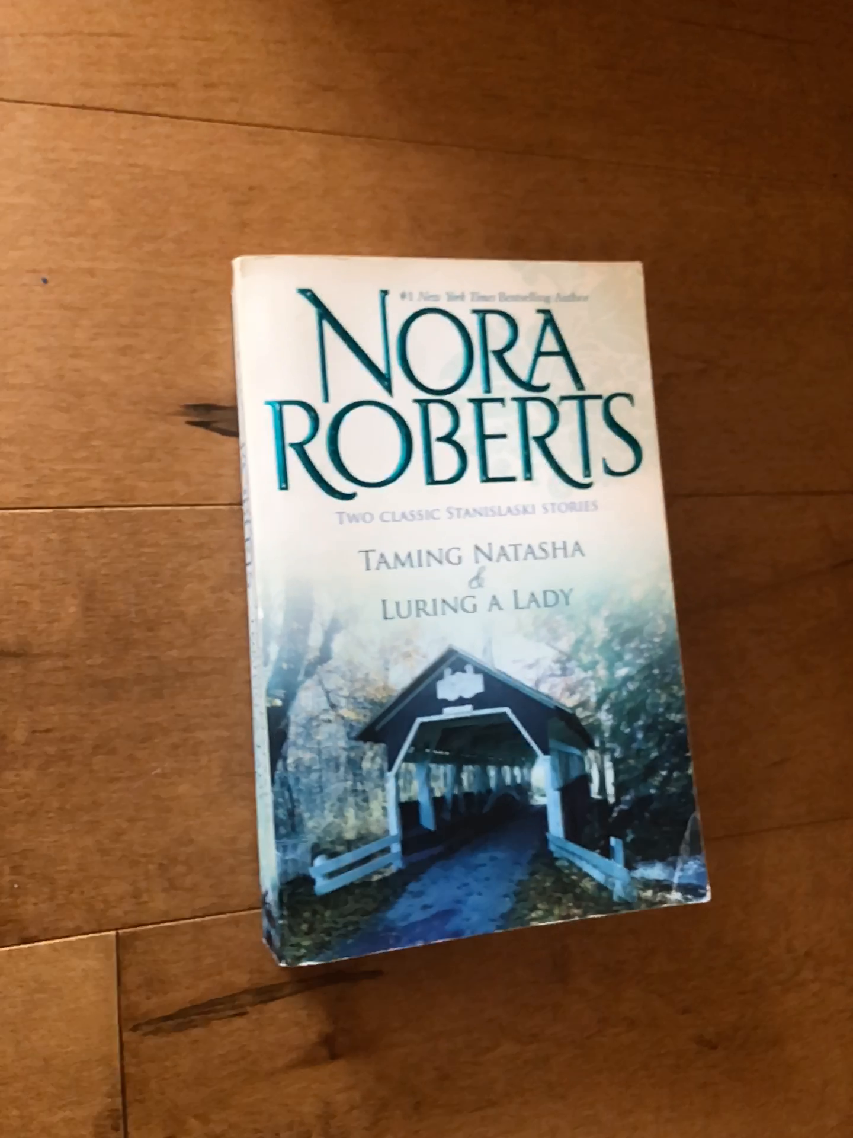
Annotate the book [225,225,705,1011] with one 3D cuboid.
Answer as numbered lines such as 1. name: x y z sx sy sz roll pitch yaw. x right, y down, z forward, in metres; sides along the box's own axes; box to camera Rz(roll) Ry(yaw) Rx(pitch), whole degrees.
1. book: 0.011 0.009 0.304 0.130 0.040 0.220 -4 86 -17
